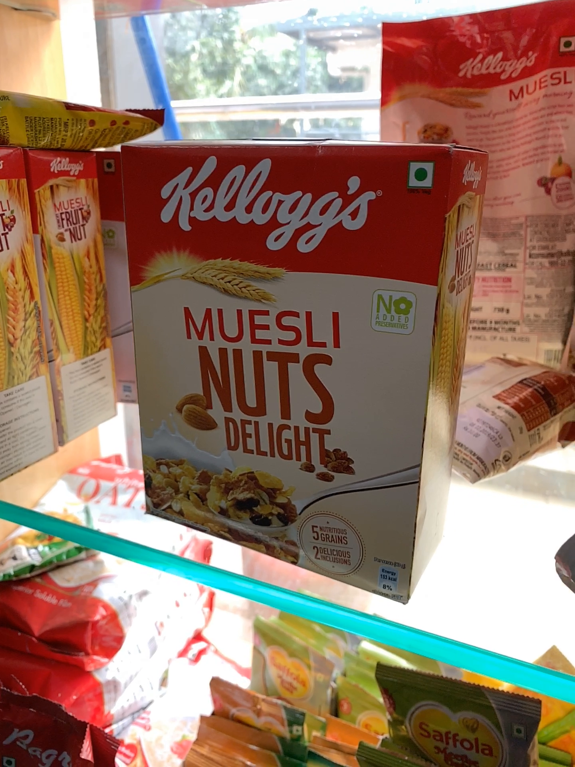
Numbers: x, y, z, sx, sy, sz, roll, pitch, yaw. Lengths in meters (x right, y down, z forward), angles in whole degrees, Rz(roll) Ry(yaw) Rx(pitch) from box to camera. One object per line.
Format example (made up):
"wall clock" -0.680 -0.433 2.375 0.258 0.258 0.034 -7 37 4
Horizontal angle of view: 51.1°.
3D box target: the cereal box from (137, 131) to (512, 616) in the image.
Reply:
"cereal box" 0.010 -0.011 0.250 0.130 0.169 0.050 11 22 28
